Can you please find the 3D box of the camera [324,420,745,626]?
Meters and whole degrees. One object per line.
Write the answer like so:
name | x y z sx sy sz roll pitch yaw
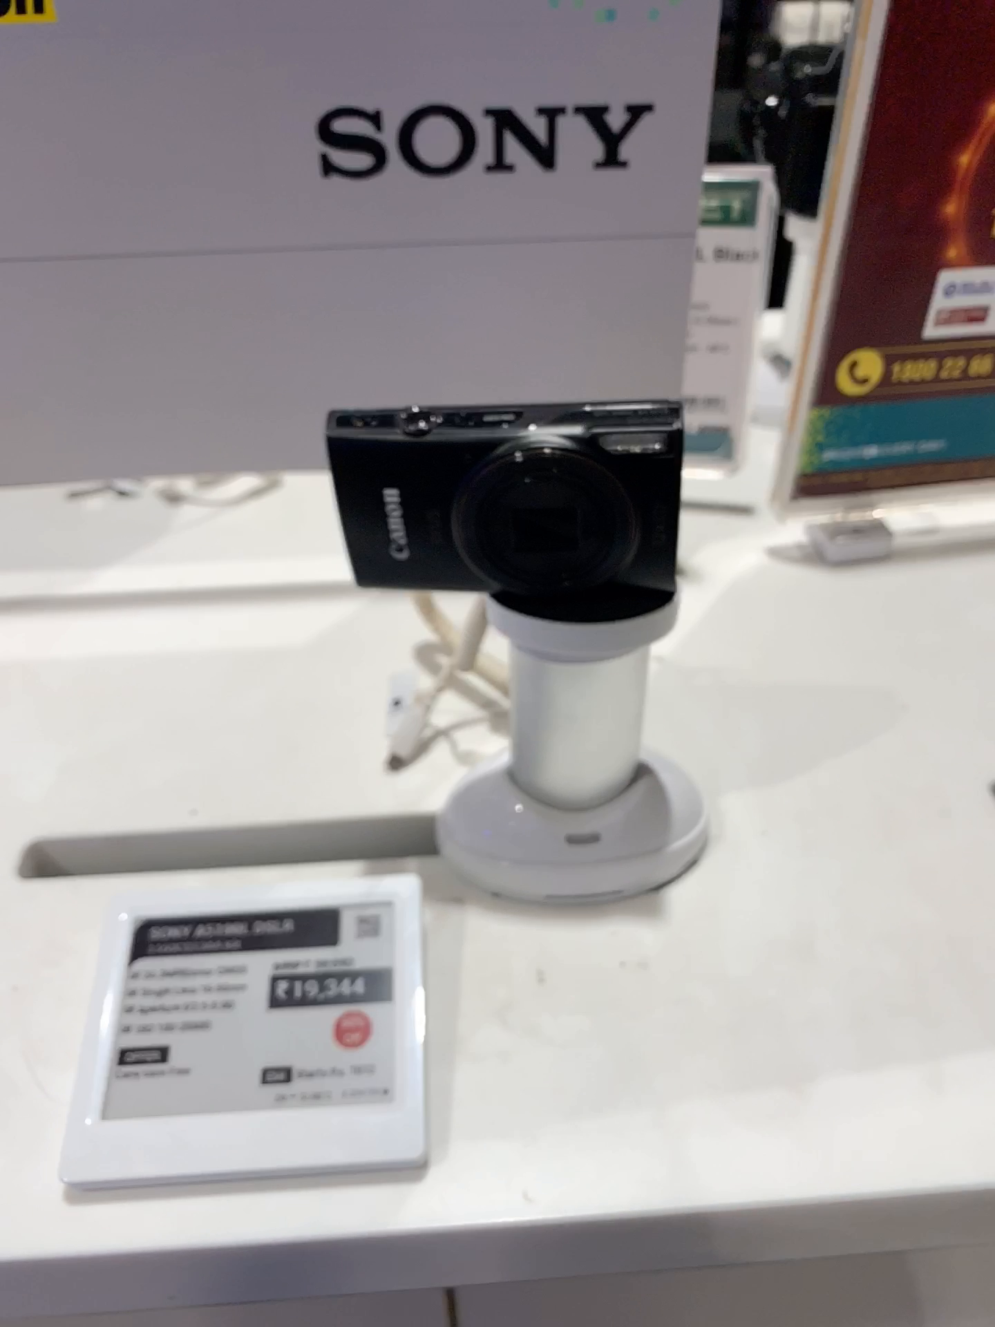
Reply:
camera | 0.009 -0.036 0.272 0.100 0.050 0.020 1 41 2
